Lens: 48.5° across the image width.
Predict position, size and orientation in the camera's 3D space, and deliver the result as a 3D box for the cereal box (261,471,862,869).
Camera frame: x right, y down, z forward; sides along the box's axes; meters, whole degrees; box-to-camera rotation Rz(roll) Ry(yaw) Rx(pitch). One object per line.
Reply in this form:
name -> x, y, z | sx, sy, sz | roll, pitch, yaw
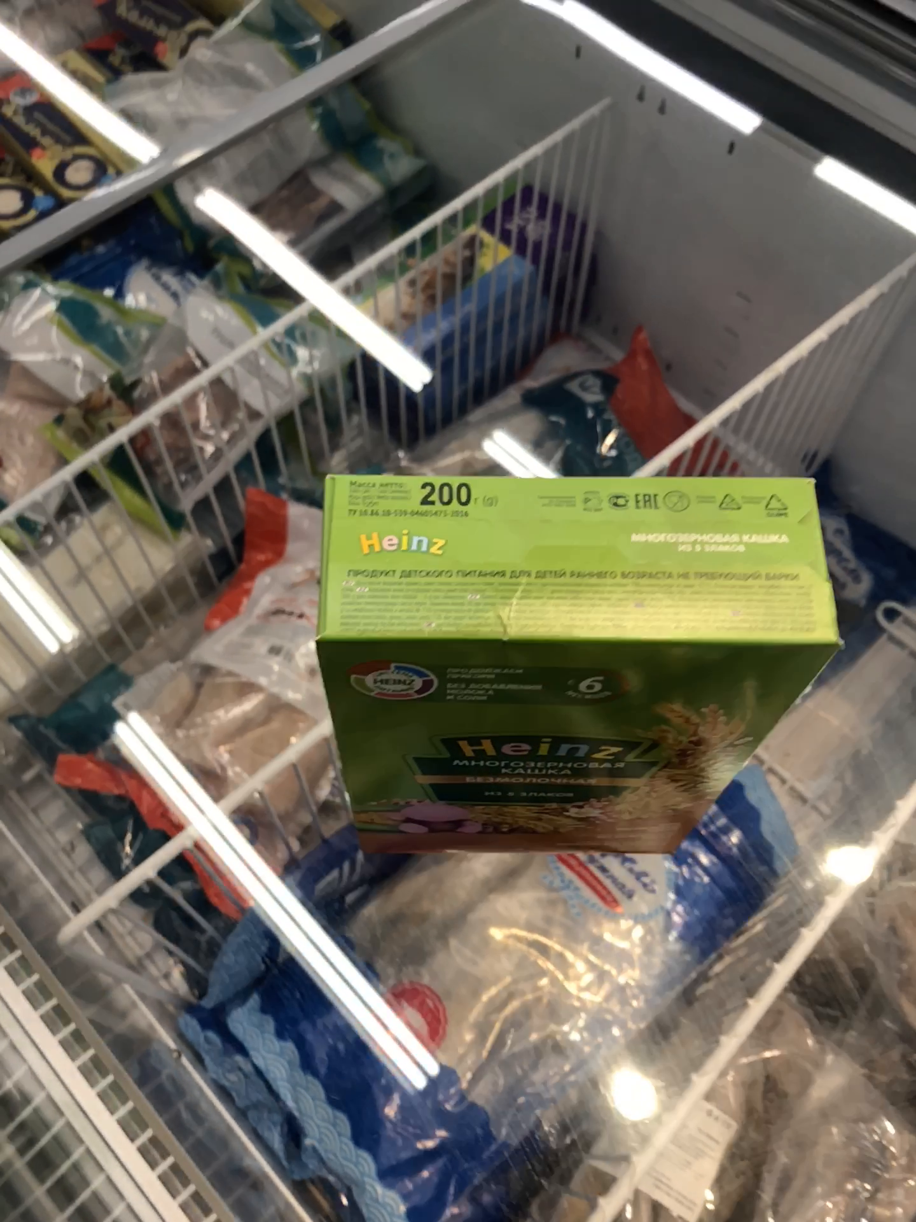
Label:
cereal box -> 0.023, 0.034, 0.336 | 0.140, 0.200, 0.050 | 1, 62, -1
